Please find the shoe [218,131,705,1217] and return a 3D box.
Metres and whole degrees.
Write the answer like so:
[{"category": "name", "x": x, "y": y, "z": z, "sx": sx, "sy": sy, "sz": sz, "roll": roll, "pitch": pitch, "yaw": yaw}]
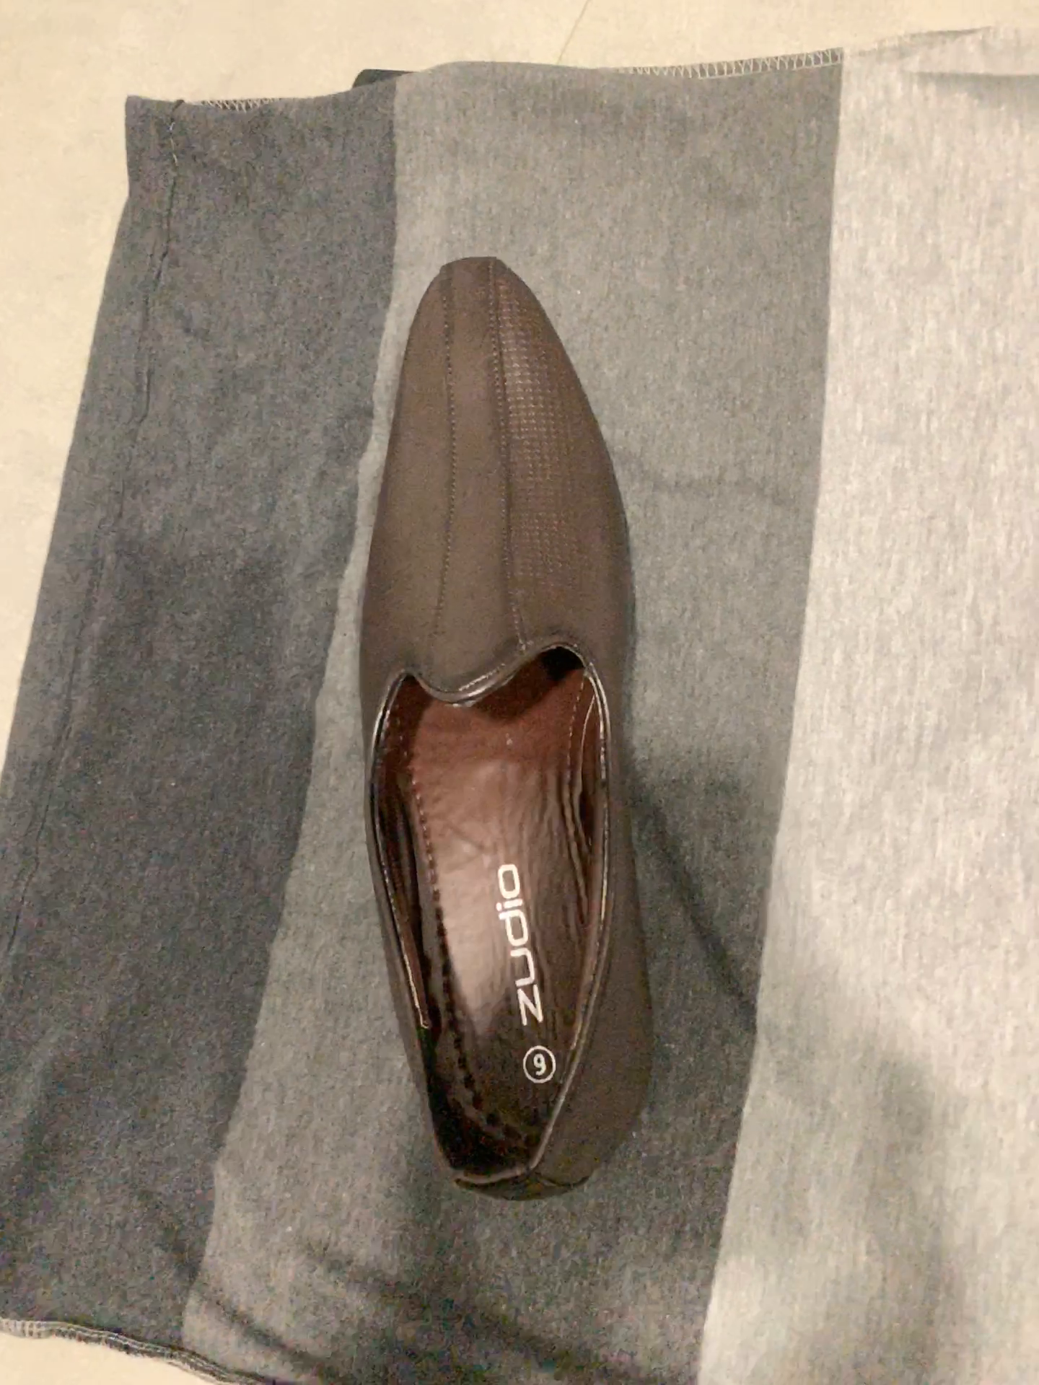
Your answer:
[{"category": "shoe", "x": -0.015, "y": -0.004, "z": 0.318, "sx": 0.100, "sy": 0.100, "sz": 0.270, "roll": -8, "pitch": 77, "yaw": 13}]
